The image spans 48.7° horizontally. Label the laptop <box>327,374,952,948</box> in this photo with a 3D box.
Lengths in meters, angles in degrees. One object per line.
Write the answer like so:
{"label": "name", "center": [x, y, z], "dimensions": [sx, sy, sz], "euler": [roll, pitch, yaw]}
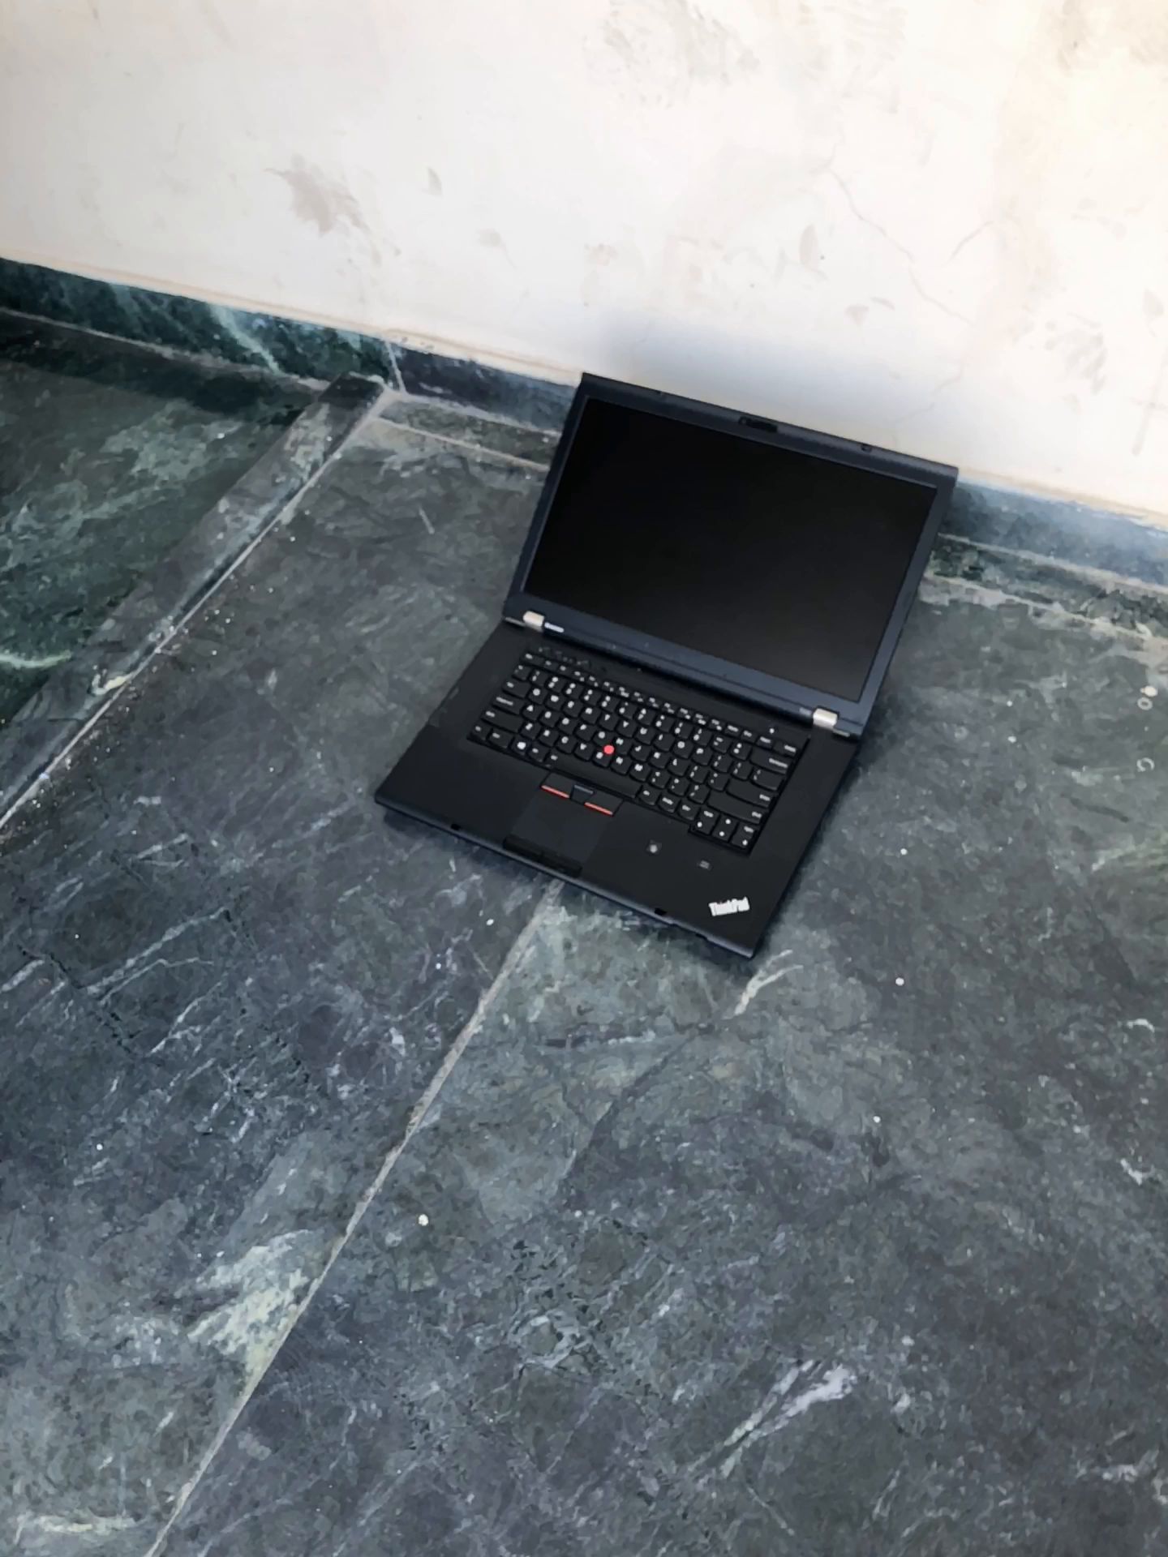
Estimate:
{"label": "laptop", "center": [0.055, -0.110, 0.971], "dimensions": [0.311, 0.115, 0.376], "euler": [21, 60, 21]}
